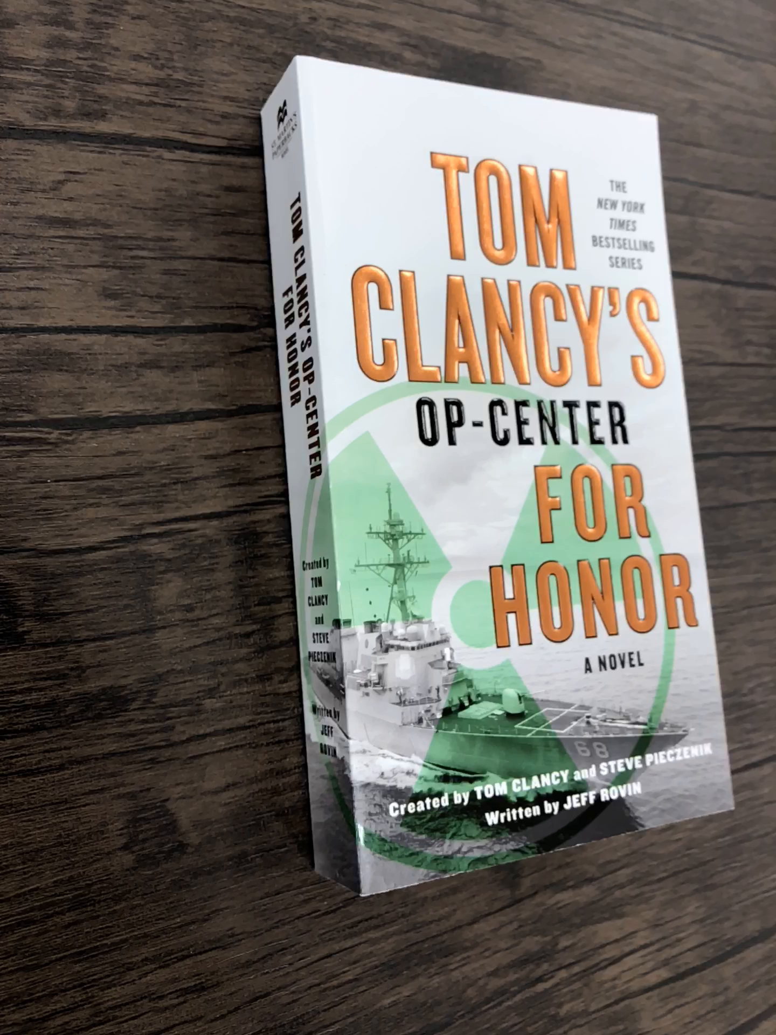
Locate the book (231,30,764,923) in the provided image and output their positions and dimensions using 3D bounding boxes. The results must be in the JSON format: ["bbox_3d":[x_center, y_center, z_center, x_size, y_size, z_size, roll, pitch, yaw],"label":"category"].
[{"bbox_3d":[0.027,-0.013,0.226,0.113,0.040,0.190,-3,84,-25],"label":"book"}]
